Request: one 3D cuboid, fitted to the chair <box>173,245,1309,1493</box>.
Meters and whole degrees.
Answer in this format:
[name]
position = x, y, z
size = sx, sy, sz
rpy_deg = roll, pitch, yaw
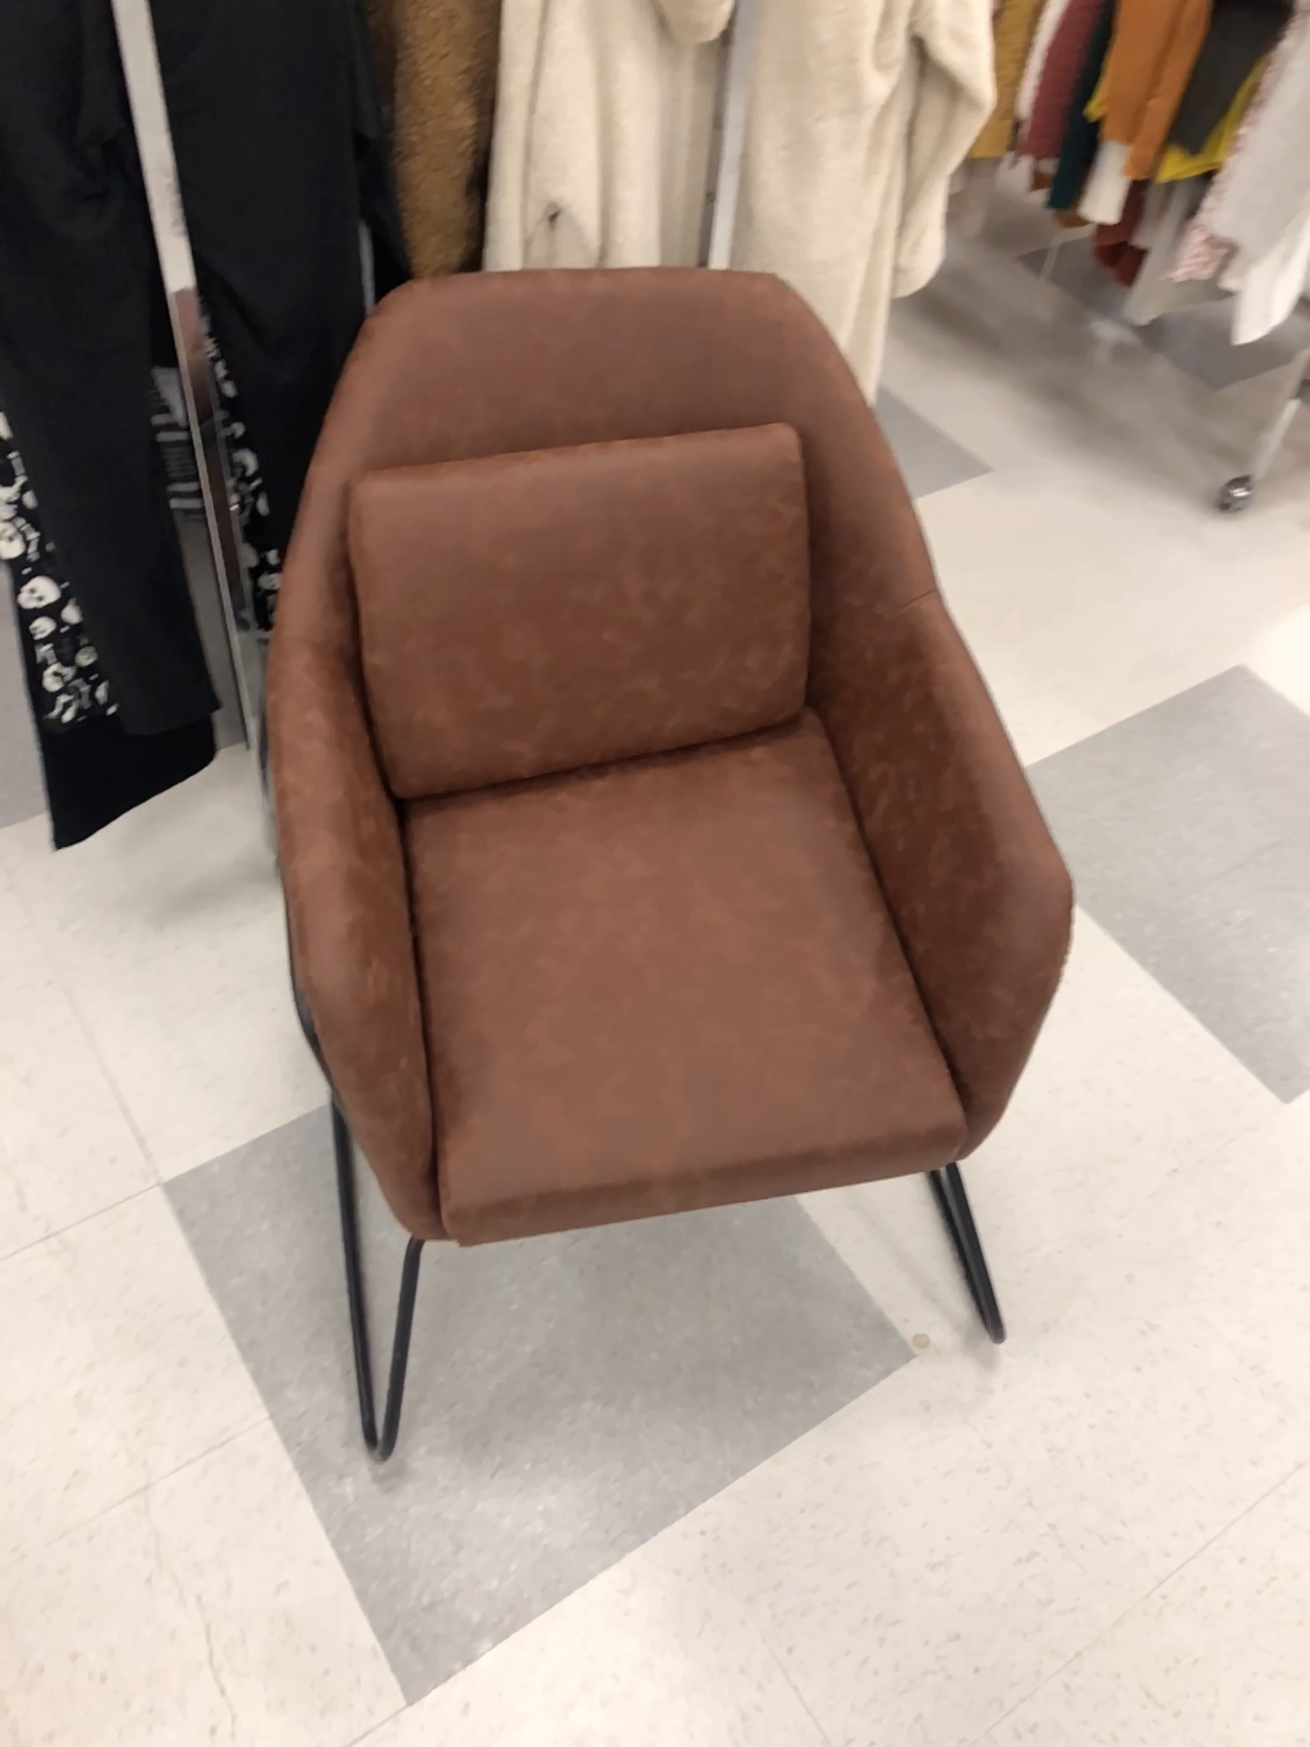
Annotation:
[chair]
position = -0.006, 0.000, 1.388
size = 0.735, 0.850, 0.762
rpy_deg = -7, 50, -11
